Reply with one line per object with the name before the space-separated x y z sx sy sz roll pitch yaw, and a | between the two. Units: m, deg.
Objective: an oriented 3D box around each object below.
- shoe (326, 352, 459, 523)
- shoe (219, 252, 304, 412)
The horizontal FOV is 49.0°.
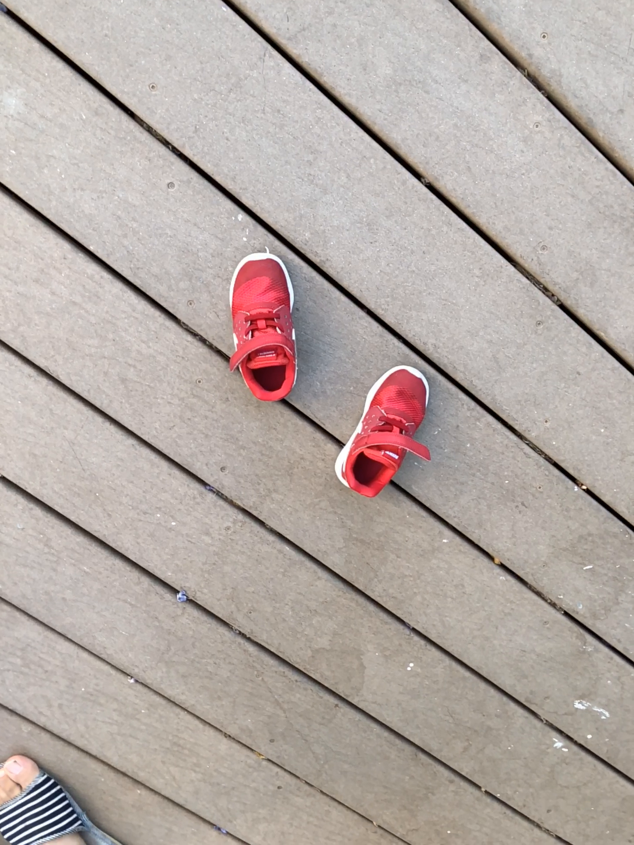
shoe | 0.080 0.016 0.779 0.069 0.069 0.164 24 105 -11
shoe | -0.057 -0.097 0.735 0.073 0.069 0.153 -5 108 -3
